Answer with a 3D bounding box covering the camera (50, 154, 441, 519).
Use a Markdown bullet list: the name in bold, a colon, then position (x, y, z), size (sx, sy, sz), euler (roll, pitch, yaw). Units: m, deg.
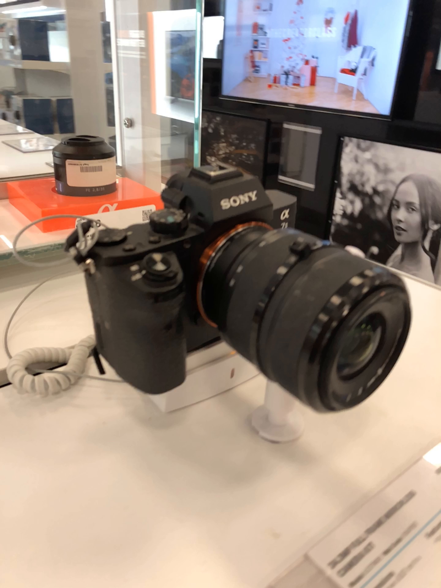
- **camera**: position (0.016, -0.004, 0.256), size (0.140, 0.100, 0.150), euler (-20, 33, -38)
